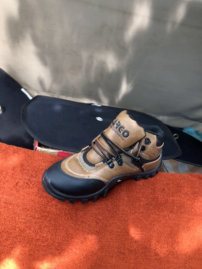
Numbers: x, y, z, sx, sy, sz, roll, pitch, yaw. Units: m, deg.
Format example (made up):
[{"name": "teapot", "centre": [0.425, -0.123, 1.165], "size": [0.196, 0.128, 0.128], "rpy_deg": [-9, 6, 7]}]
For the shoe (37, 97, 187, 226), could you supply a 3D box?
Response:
[{"name": "shoe", "centre": [0.024, 0.035, 0.455], "size": [0.271, 0.149, 0.110], "rpy_deg": [-17, 46, -36]}]
